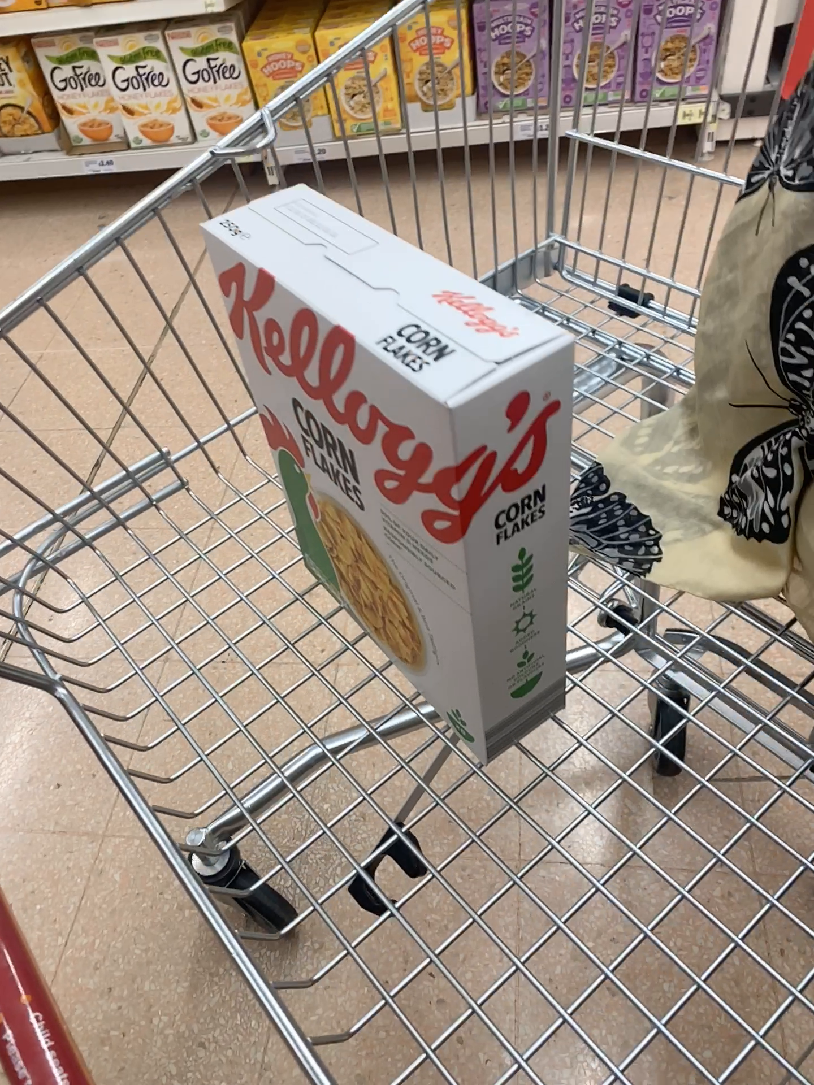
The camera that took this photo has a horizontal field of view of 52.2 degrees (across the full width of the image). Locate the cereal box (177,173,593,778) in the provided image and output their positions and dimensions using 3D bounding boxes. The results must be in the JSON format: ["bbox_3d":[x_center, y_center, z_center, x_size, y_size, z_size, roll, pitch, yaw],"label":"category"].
[{"bbox_3d":[-0.006,-0.027,0.415,0.060,0.238,0.201,-33,51,-19],"label":"cereal box"}]
